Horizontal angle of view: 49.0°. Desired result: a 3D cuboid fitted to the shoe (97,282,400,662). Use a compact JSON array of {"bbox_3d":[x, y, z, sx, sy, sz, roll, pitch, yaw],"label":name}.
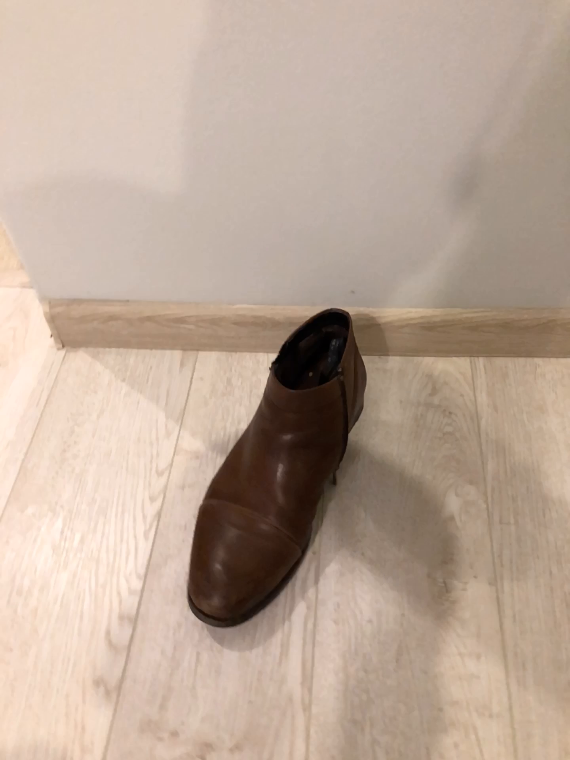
[{"bbox_3d":[-0.013,0.066,0.571,0.120,0.109,0.312,21,56,18],"label":"shoe"}]
